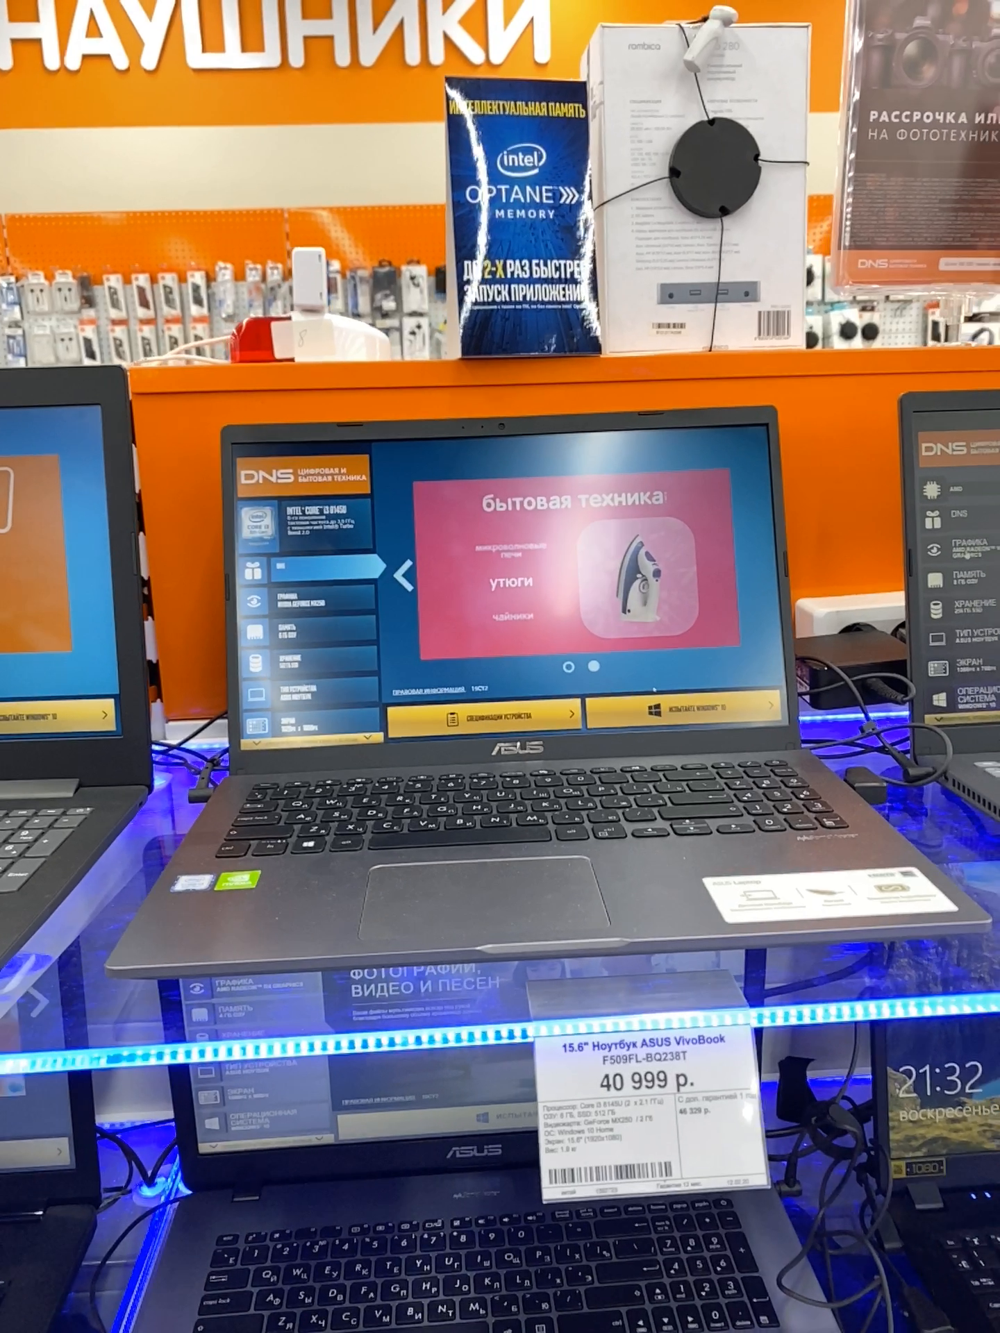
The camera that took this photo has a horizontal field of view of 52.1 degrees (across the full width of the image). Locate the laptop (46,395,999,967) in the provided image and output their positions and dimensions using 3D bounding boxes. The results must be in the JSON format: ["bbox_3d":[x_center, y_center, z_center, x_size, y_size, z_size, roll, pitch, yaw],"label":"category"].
[{"bbox_3d":[0.013,-0.026,0.540,0.357,0.211,0.307,-2,13,-2],"label":"laptop"}]
